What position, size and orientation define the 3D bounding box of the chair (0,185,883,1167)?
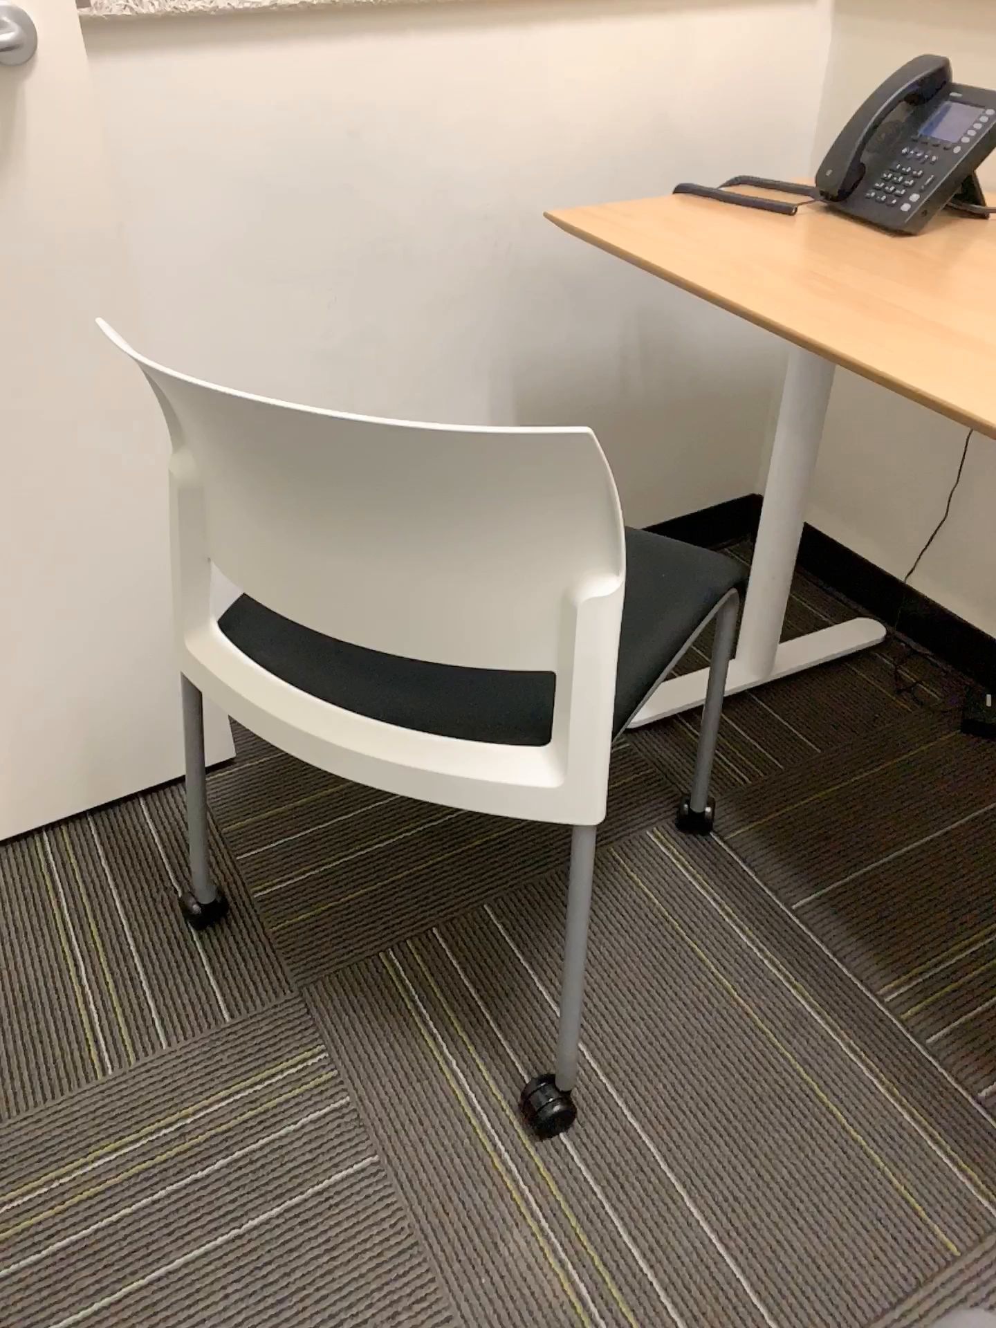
[{"bbox_3d":[-0.042,-0.035,1.145,0.612,0.755,0.582,21,42,25],"label":"chair"}]
